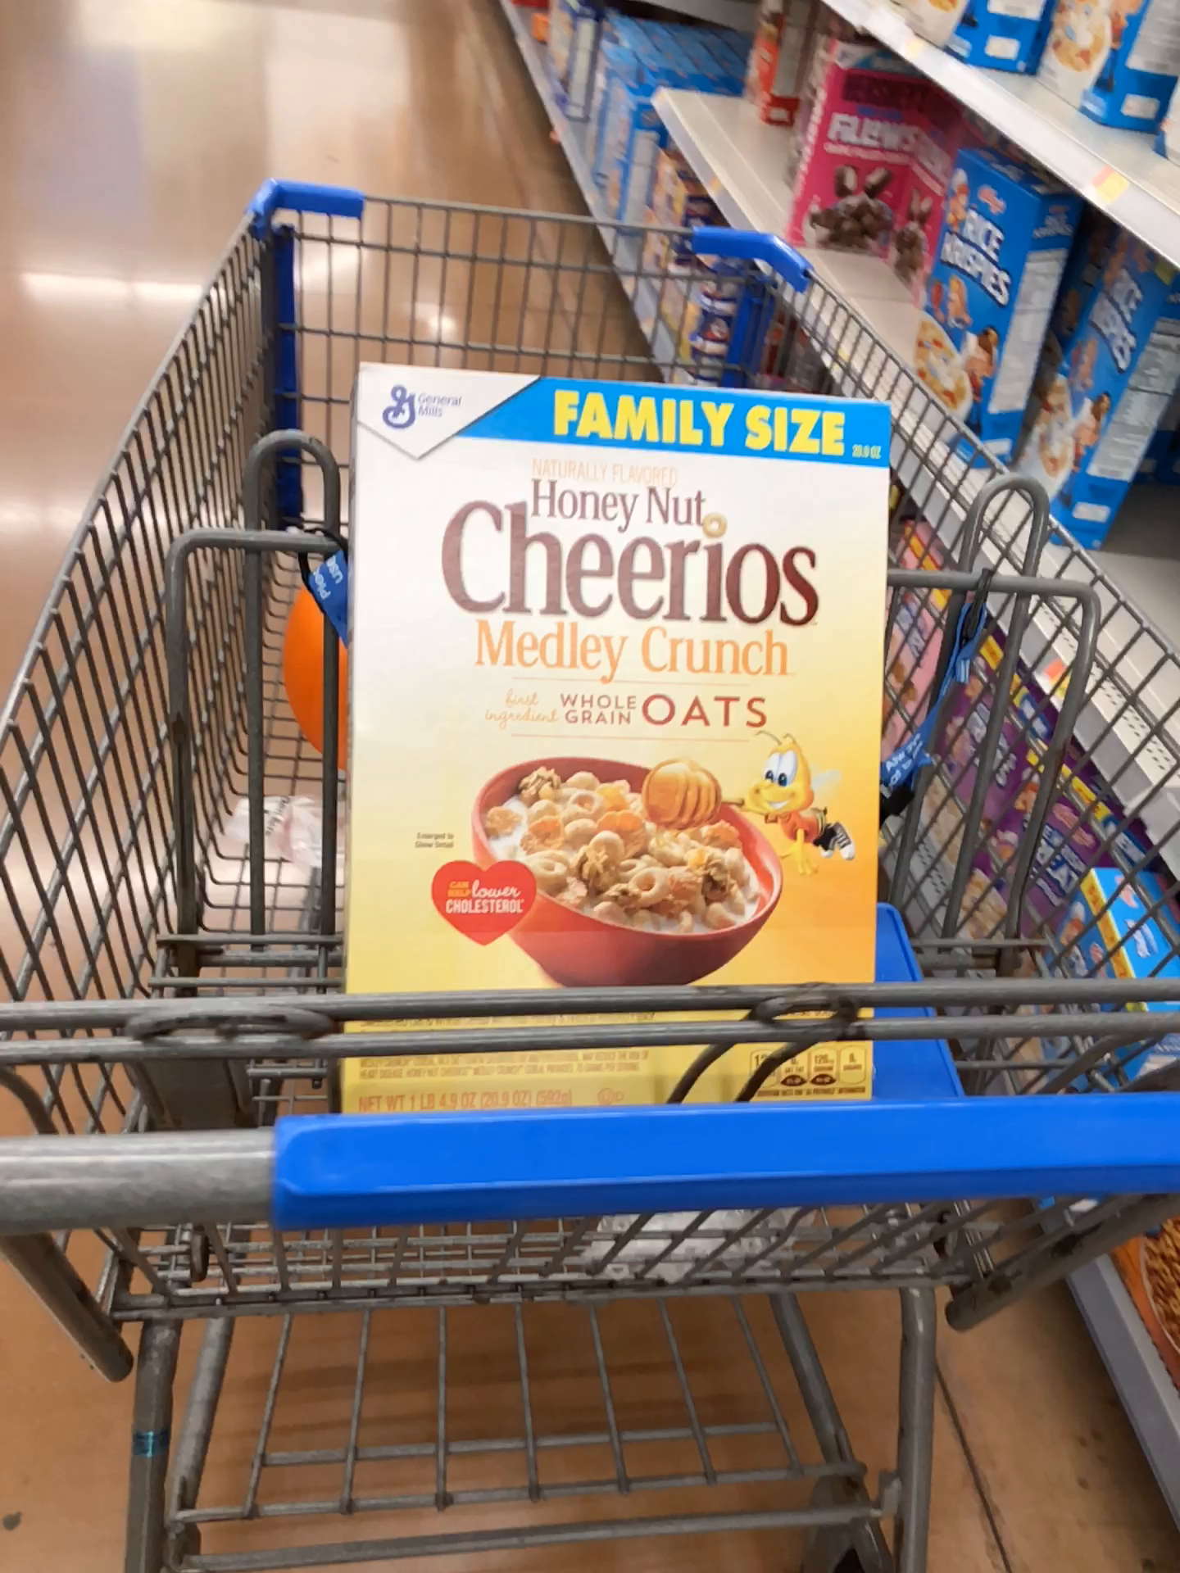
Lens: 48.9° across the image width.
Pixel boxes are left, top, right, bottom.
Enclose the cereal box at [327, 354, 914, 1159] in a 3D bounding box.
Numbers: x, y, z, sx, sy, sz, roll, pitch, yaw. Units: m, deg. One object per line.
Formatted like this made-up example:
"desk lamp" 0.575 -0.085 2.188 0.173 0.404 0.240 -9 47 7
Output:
"cereal box" 0.012 -0.012 0.576 0.250 0.320 0.070 0 0 -12
